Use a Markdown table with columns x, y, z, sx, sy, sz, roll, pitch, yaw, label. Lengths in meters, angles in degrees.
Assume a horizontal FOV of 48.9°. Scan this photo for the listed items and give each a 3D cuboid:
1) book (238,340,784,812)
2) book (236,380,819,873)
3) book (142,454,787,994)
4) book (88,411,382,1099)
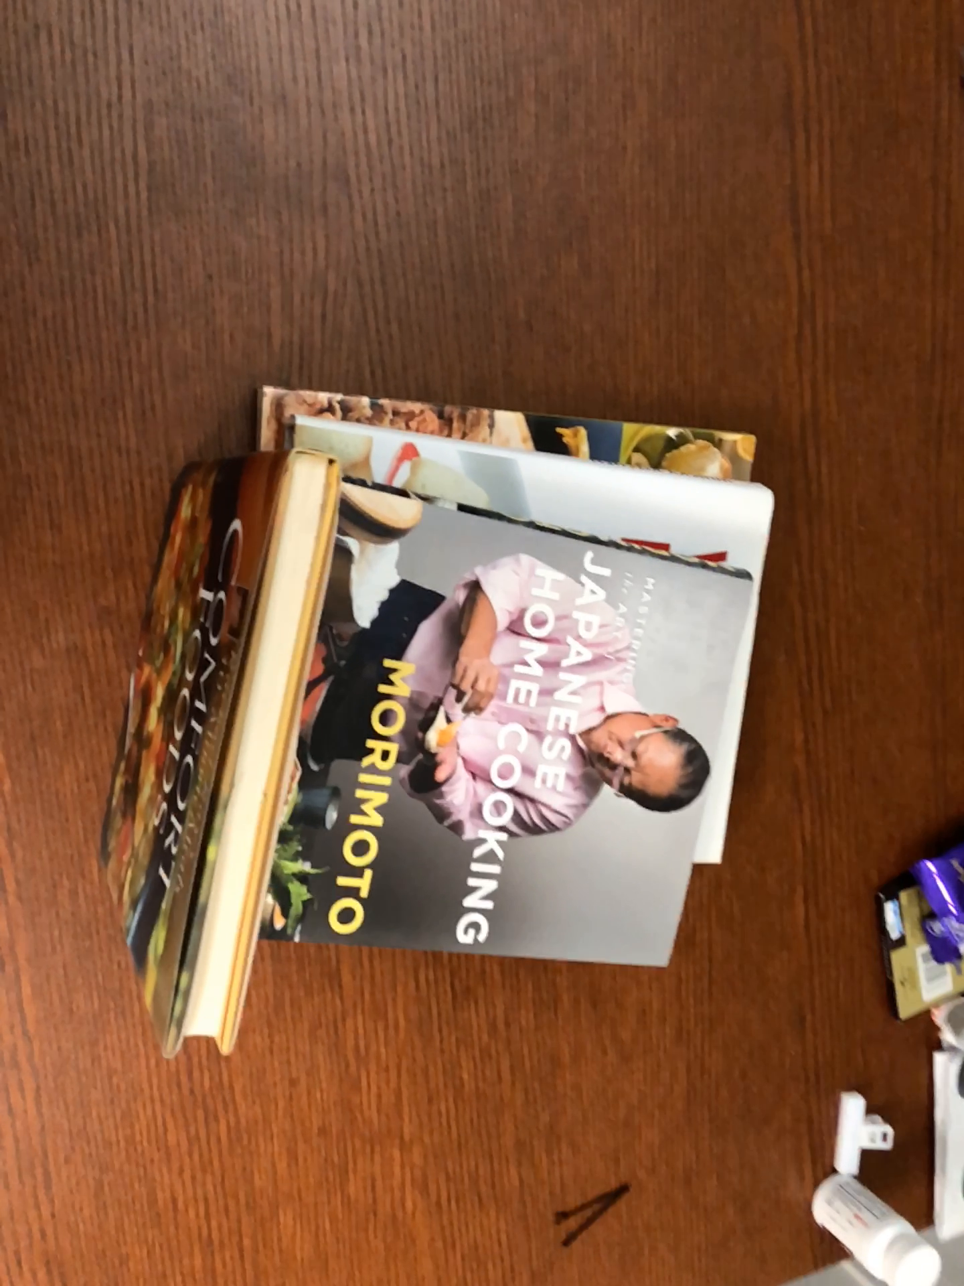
| x | y | z | sx | sy | sz | roll | pitch | yaw | label |
| --- | --- | --- | --- | --- | --- | --- | --- | --- | --- |
| 0.022 | -0.025 | 0.556 | 0.281 | 0.030 | 0.220 | 2 | 96 | -21 | book |
| 0.030 | 0.004 | 0.534 | 0.281 | 0.030 | 0.220 | 5 | 95 | -21 | book |
| 0.001 | 0.050 | 0.511 | 0.281 | 0.030 | 0.220 | 10 | 93 | -21 | book |
| -0.110 | 0.023 | 0.415 | 0.030 | 0.210 | 0.210 | 13 | 93 | -24 | book |
